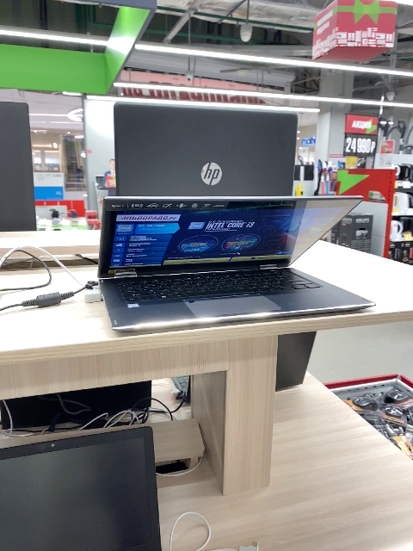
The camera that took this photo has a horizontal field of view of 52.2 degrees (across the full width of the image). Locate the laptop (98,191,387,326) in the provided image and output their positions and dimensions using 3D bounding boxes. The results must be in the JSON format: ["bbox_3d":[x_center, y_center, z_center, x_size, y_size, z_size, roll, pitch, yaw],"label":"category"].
[{"bbox_3d":[0.027,-0.043,0.569,0.320,0.128,0.217,-3,14,-17],"label":"laptop"}]
